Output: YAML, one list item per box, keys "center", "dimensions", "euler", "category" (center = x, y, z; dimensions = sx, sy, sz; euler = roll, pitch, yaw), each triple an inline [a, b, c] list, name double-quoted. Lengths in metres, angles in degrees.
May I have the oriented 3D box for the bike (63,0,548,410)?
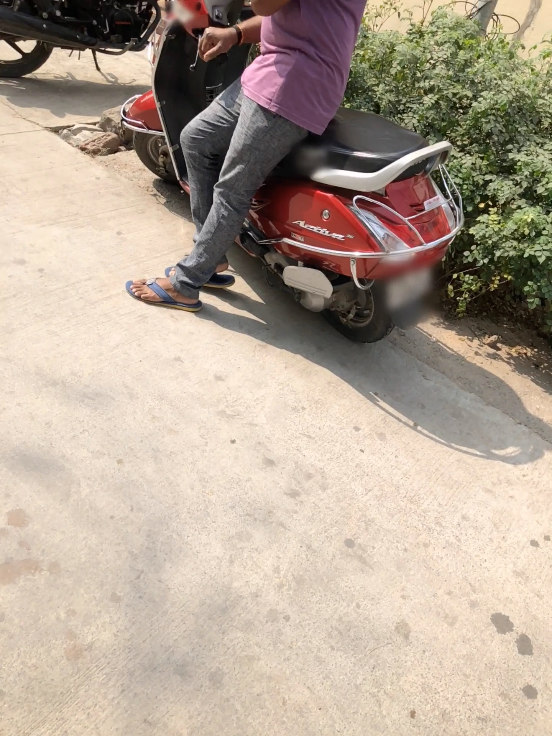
- center: [-0.103, -0.852, 2.230]
  dimensions: [0.625, 1.157, 1.584]
  euler: [-20, 49, -40]
  category: "bike"
